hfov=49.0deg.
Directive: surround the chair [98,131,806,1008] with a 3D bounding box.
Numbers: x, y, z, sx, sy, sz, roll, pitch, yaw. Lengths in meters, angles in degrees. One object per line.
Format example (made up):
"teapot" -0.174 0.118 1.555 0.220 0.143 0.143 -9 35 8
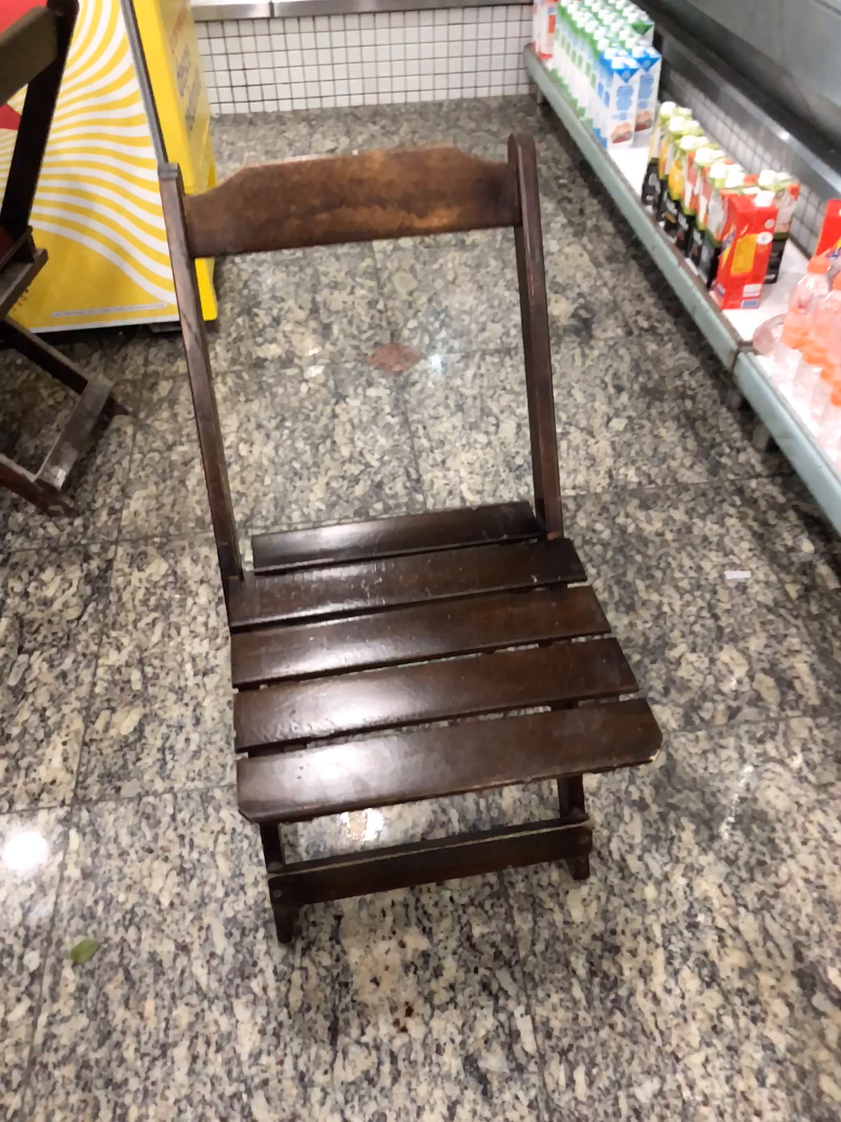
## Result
"chair" -0.014 0.014 1.001 0.440 0.706 0.553 -8 43 -7
